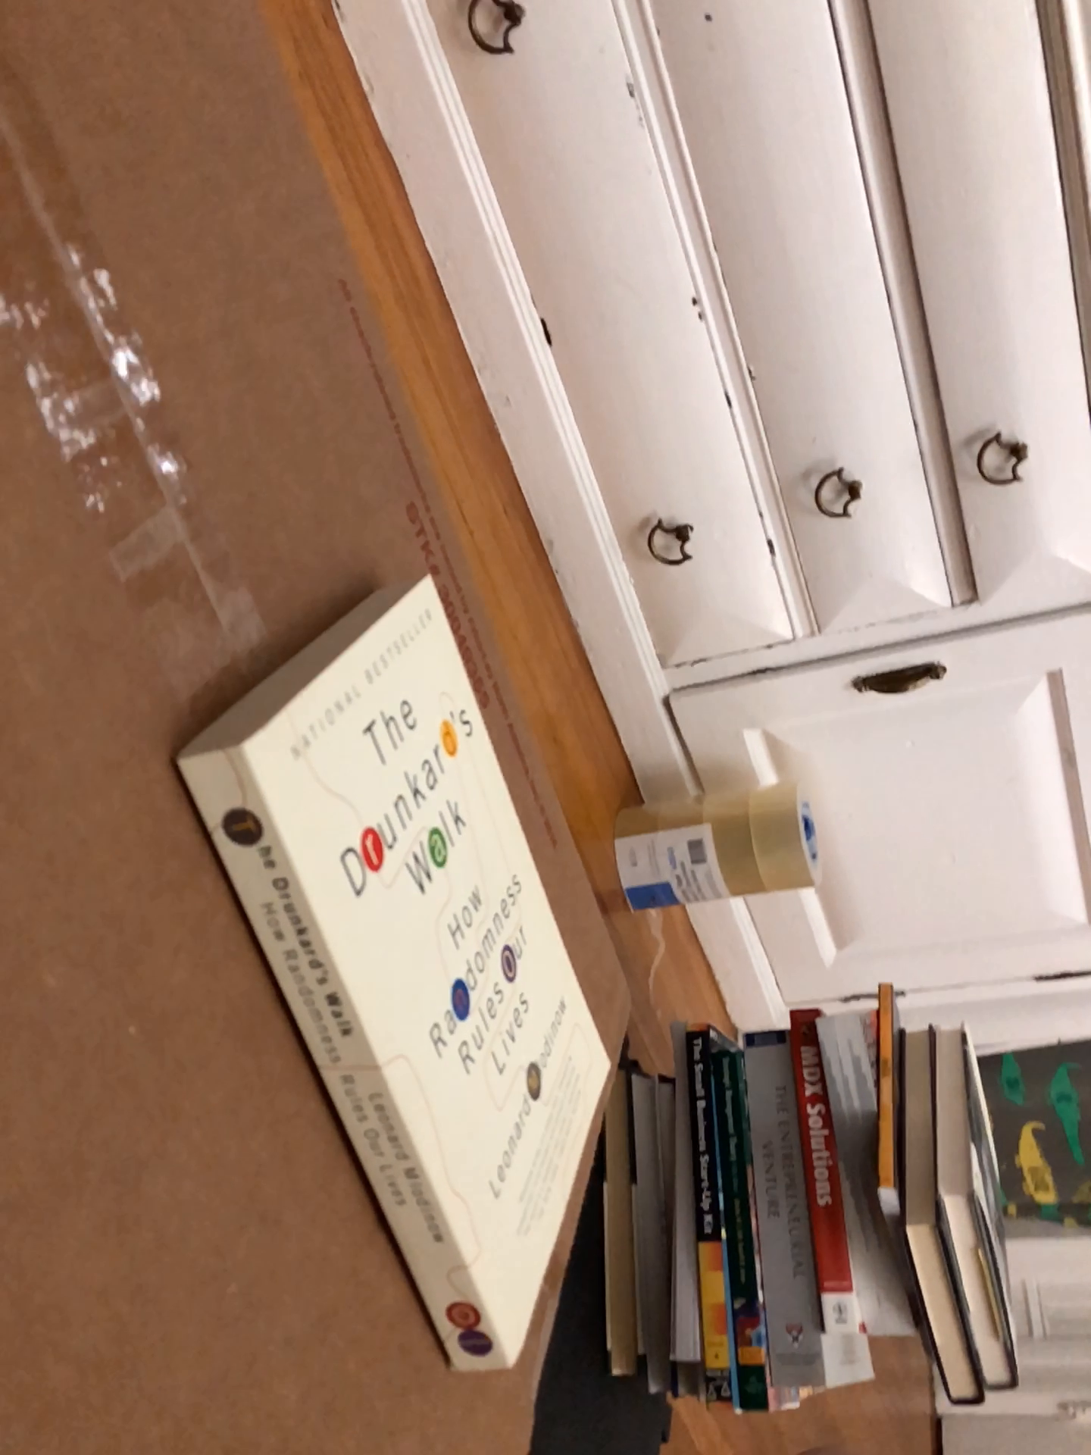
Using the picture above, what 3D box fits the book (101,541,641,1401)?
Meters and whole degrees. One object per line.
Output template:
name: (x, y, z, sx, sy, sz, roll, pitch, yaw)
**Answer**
book: (-0.033, 0.067, 0.363, 0.141, 0.040, 0.210, -59, 134, -60)
